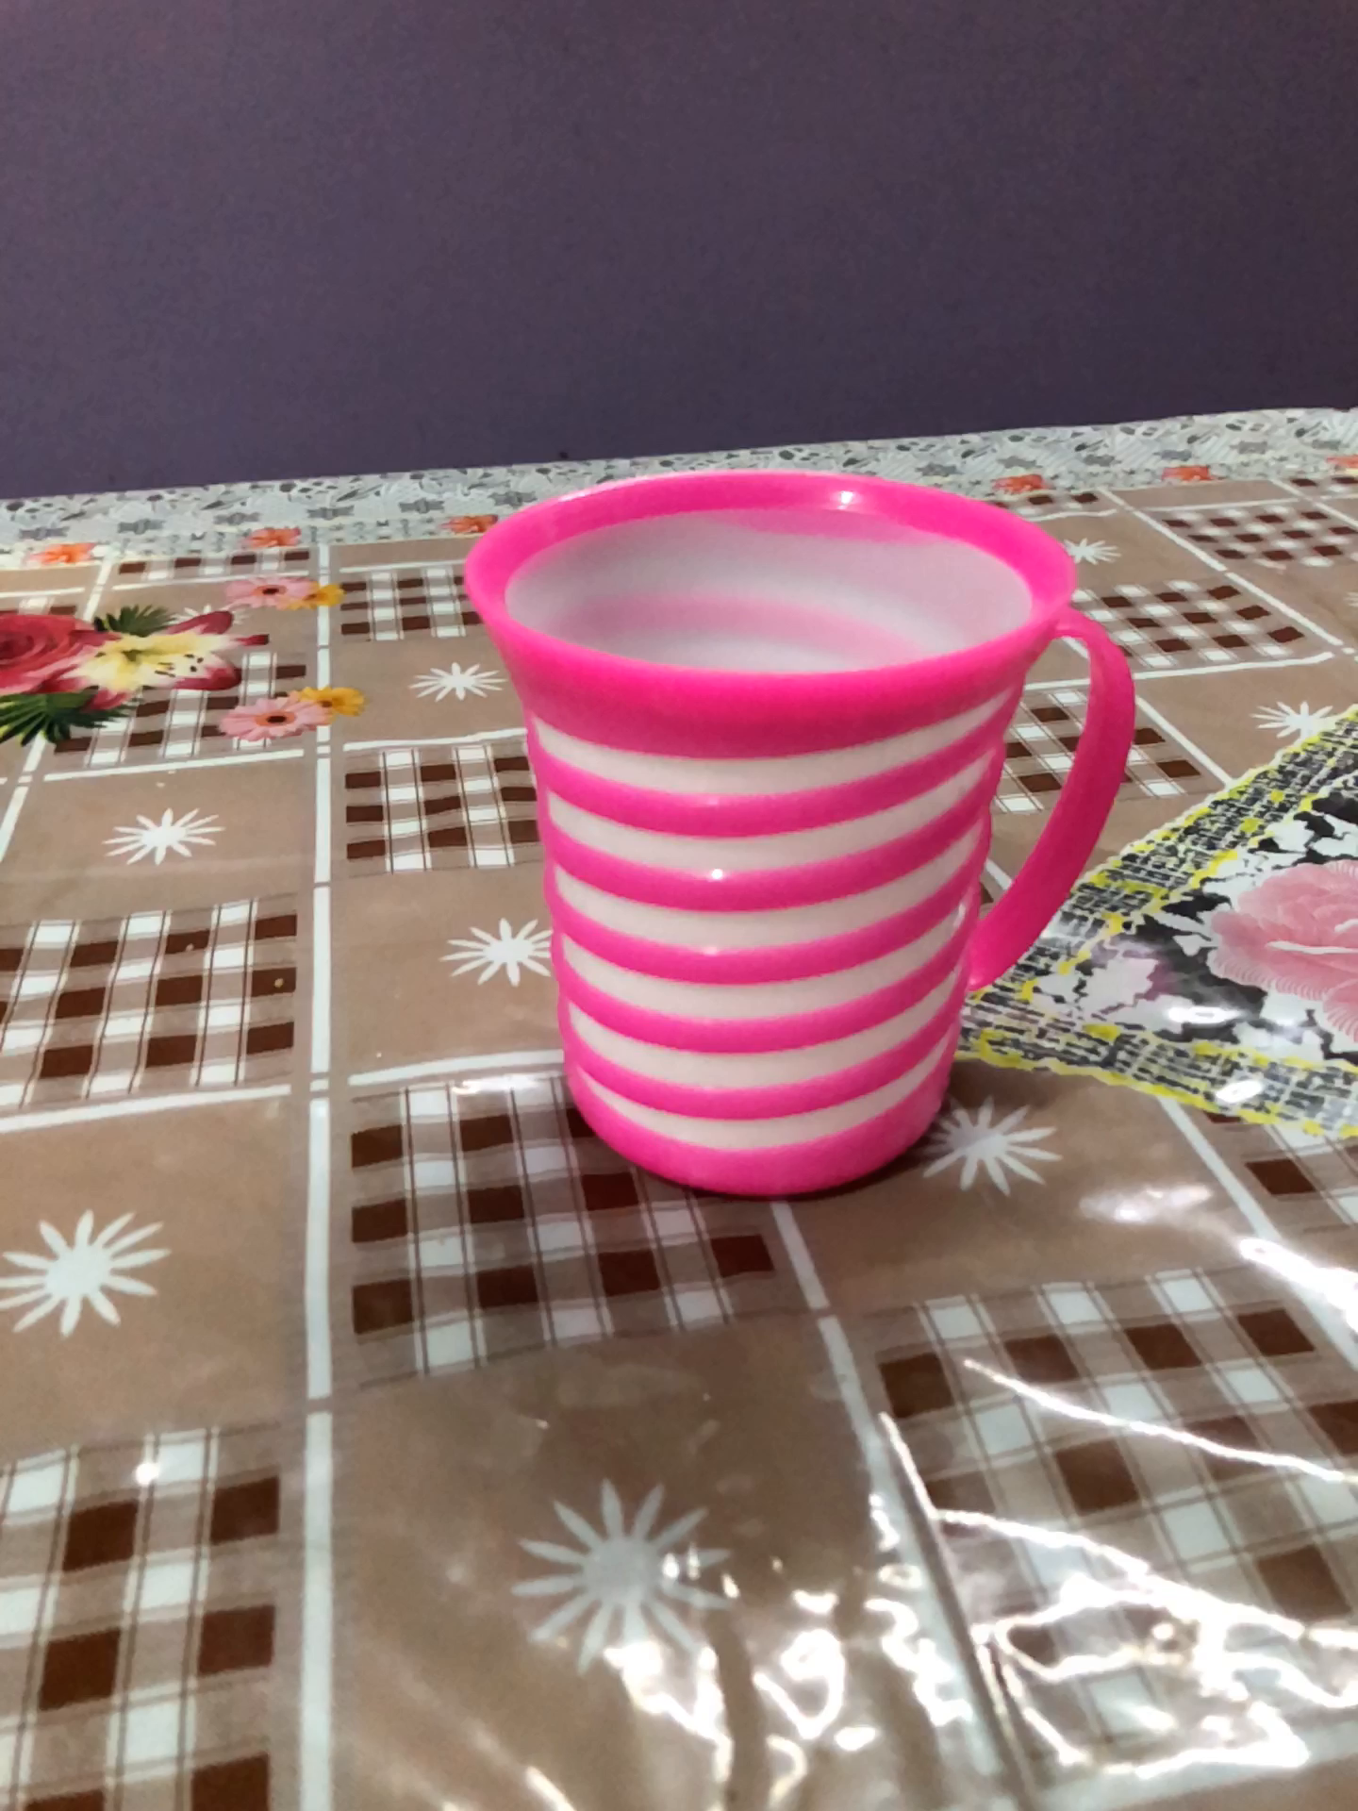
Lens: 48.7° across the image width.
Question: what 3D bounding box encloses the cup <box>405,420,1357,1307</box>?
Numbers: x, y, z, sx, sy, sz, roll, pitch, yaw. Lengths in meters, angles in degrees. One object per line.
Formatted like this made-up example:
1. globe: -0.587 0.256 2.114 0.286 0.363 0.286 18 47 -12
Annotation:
1. cup: 0.026 -0.015 0.233 0.110 0.089 0.080 -14 34 -21
